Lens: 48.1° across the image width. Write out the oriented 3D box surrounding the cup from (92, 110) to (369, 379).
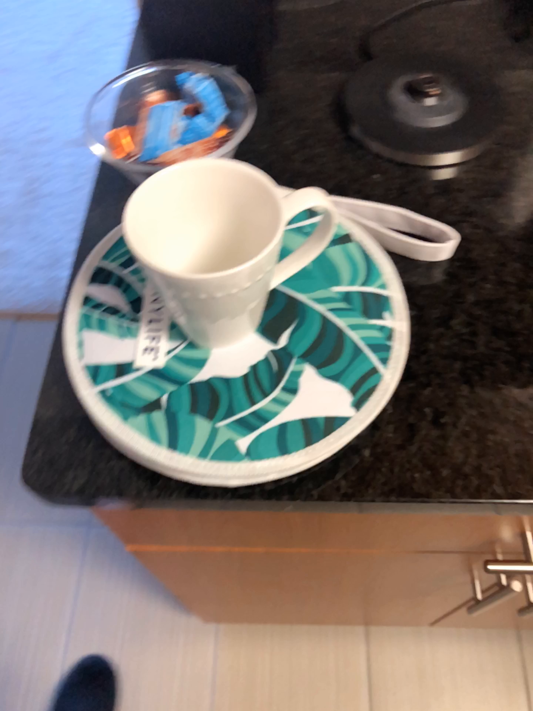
[{"bbox_3d":[-0.020,-0.069,0.373,0.130,0.090,0.090,-25,61,-12],"label":"cup"}]
